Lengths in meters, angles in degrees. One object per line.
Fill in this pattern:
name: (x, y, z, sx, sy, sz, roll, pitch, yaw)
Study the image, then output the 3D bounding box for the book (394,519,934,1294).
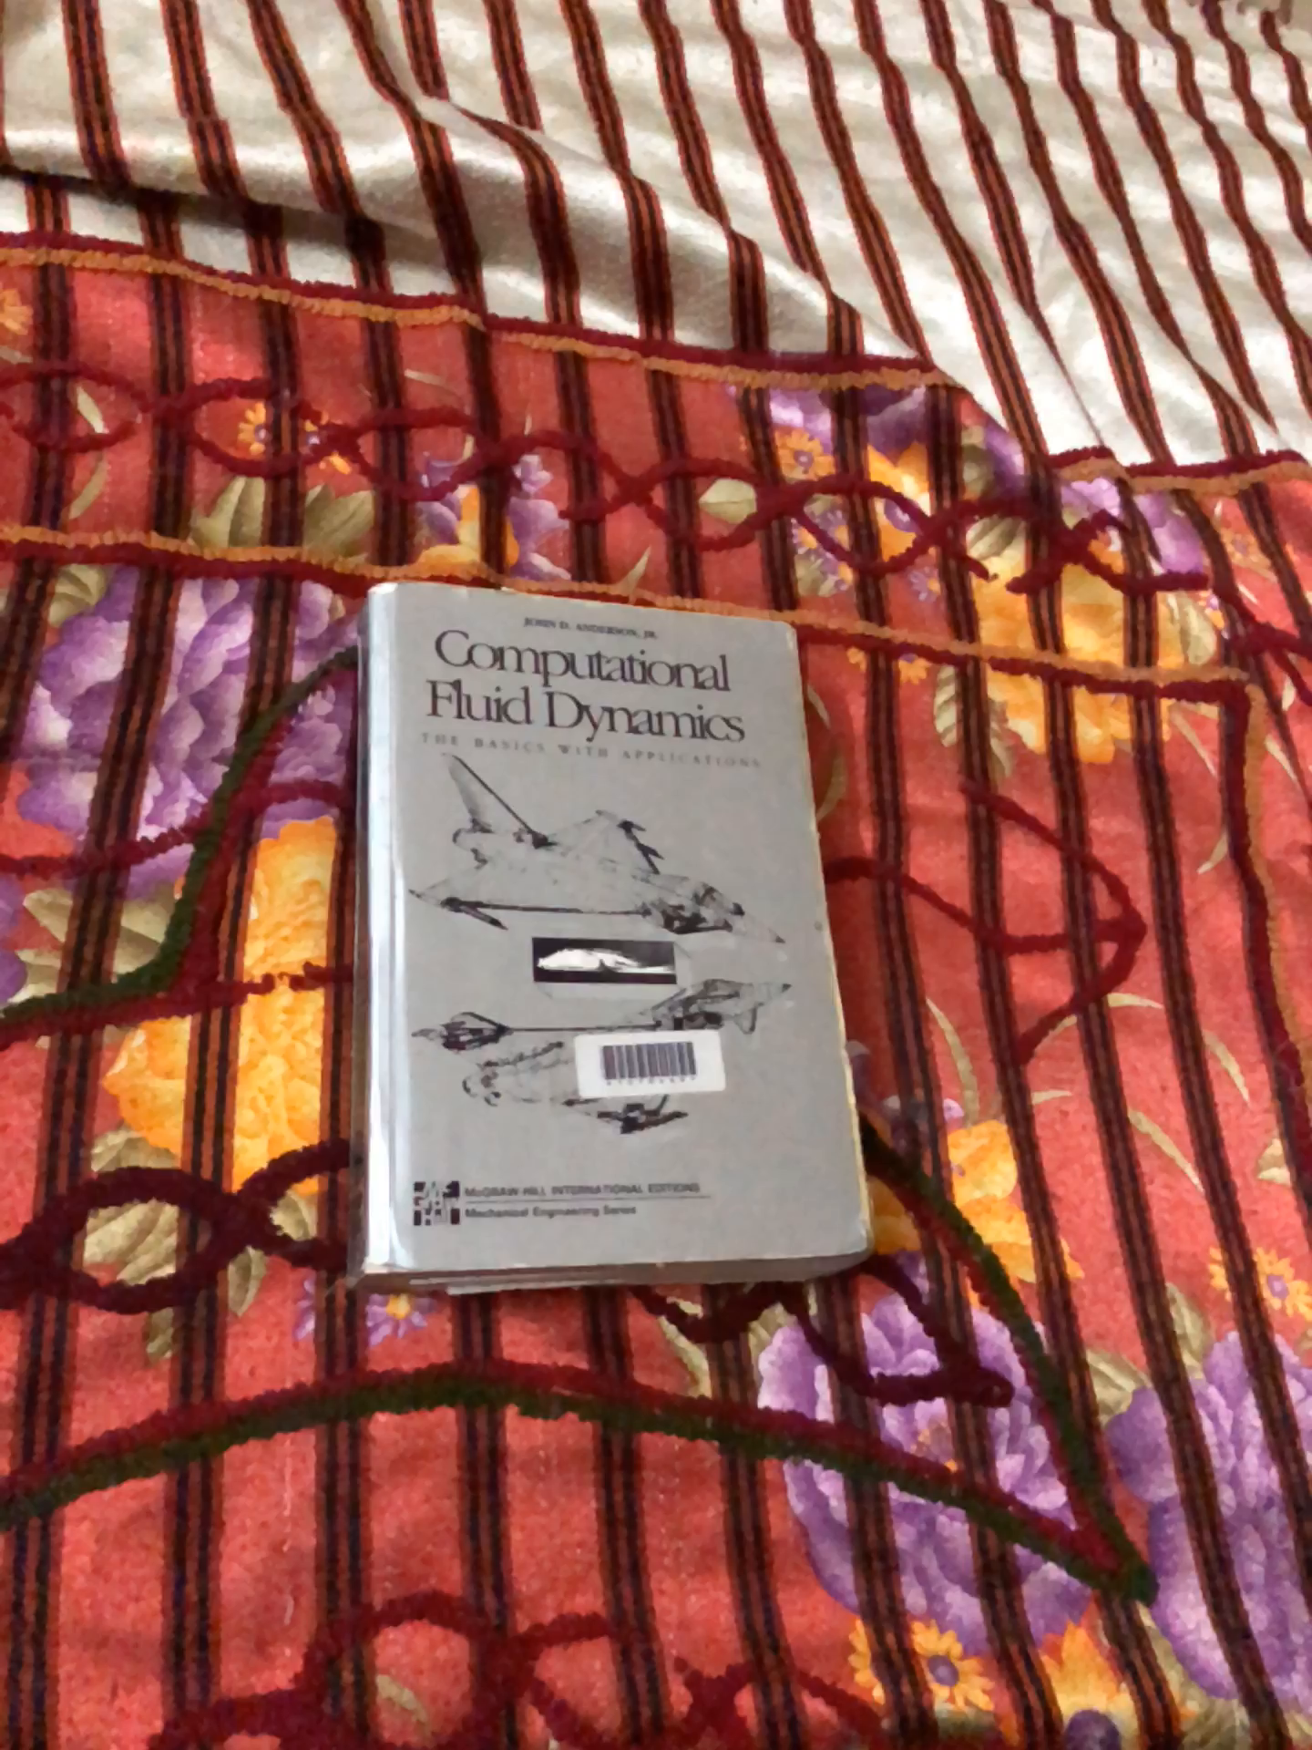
book: (-0.006, 0.009, 0.504, 0.160, 0.060, 0.250, 2, 69, -17)
